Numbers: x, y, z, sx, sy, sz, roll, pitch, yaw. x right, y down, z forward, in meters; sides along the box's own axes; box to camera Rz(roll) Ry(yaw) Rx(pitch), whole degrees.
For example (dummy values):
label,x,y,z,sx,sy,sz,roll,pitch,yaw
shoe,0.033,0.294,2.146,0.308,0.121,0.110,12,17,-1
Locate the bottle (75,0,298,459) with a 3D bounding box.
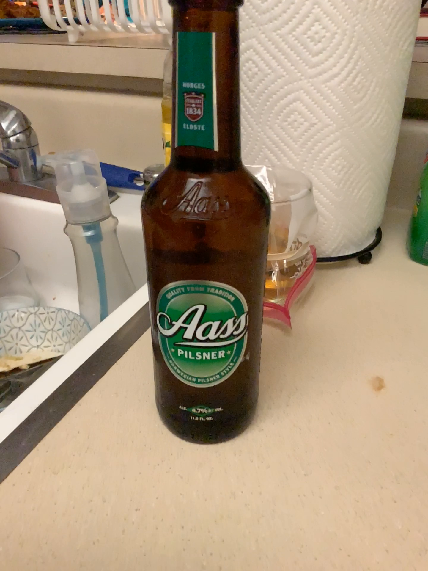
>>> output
label,x,y,z,sx,sy,sz,roll,pitch,yaw
bottle,-0.007,-0.020,0.233,0.070,0.230,0.060,2,31,4
